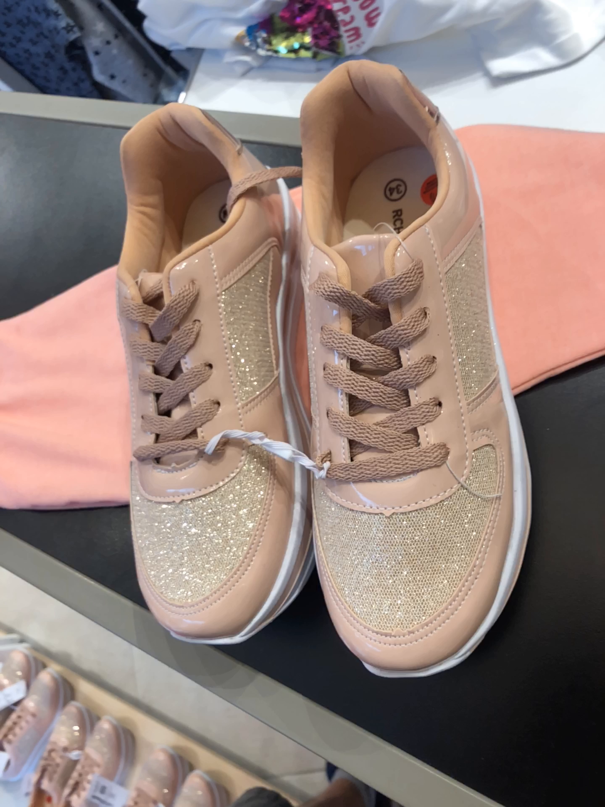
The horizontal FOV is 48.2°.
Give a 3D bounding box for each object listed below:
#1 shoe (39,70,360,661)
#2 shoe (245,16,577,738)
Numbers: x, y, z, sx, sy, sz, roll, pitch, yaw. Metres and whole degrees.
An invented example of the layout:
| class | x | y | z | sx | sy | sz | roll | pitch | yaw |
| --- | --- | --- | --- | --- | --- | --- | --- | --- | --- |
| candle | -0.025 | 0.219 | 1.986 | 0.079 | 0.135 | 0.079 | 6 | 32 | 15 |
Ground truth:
| class | x | y | z | sx | sy | sz | roll | pitch | yaw |
| --- | --- | --- | --- | --- | --- | --- | --- | --- | --- |
| shoe | -0.034 | -0.010 | 0.303 | 0.090 | 0.100 | 0.220 | -6 | 74 | 24 |
| shoe | 0.044 | -0.008 | 0.255 | 0.090 | 0.090 | 0.220 | -6 | 74 | 24 |
